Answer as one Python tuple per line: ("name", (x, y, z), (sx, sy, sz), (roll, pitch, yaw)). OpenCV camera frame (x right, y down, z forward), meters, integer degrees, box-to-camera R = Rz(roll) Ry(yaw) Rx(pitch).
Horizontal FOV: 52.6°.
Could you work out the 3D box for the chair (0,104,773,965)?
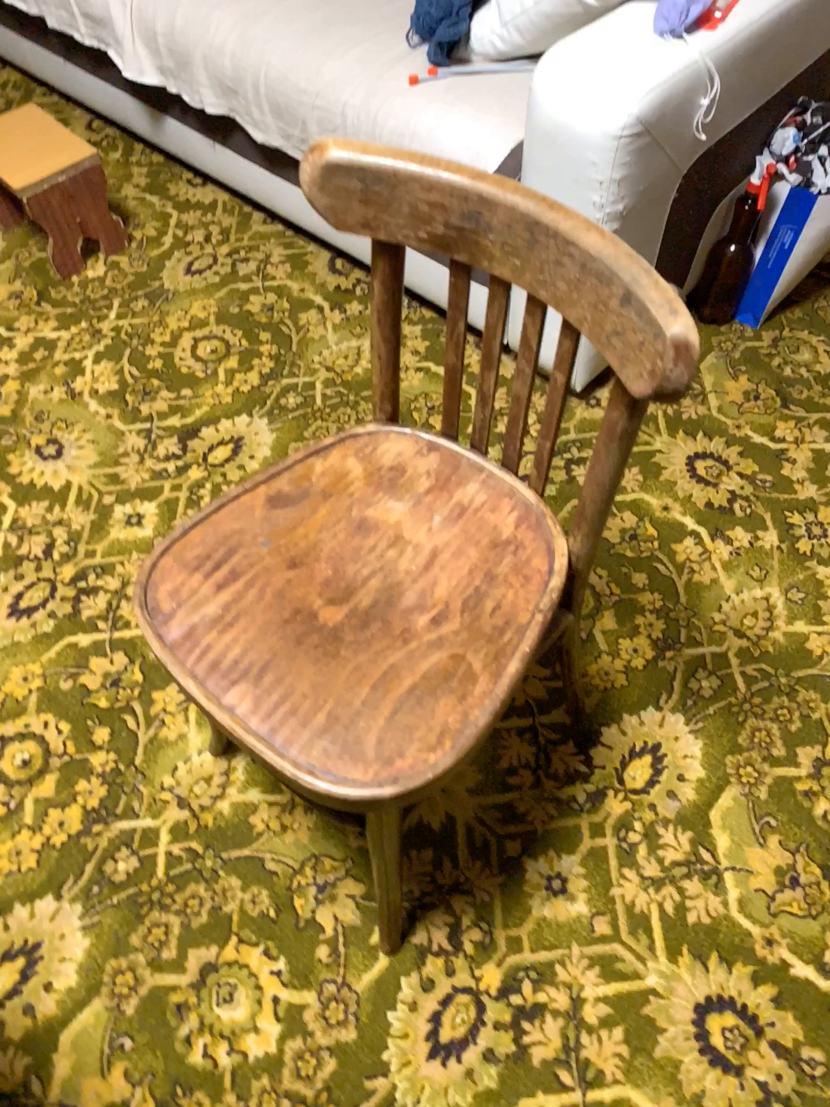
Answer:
("chair", (-0.032, 0.049, 0.876), (0.411, 0.735, 0.401), (-40, 63, -23))
